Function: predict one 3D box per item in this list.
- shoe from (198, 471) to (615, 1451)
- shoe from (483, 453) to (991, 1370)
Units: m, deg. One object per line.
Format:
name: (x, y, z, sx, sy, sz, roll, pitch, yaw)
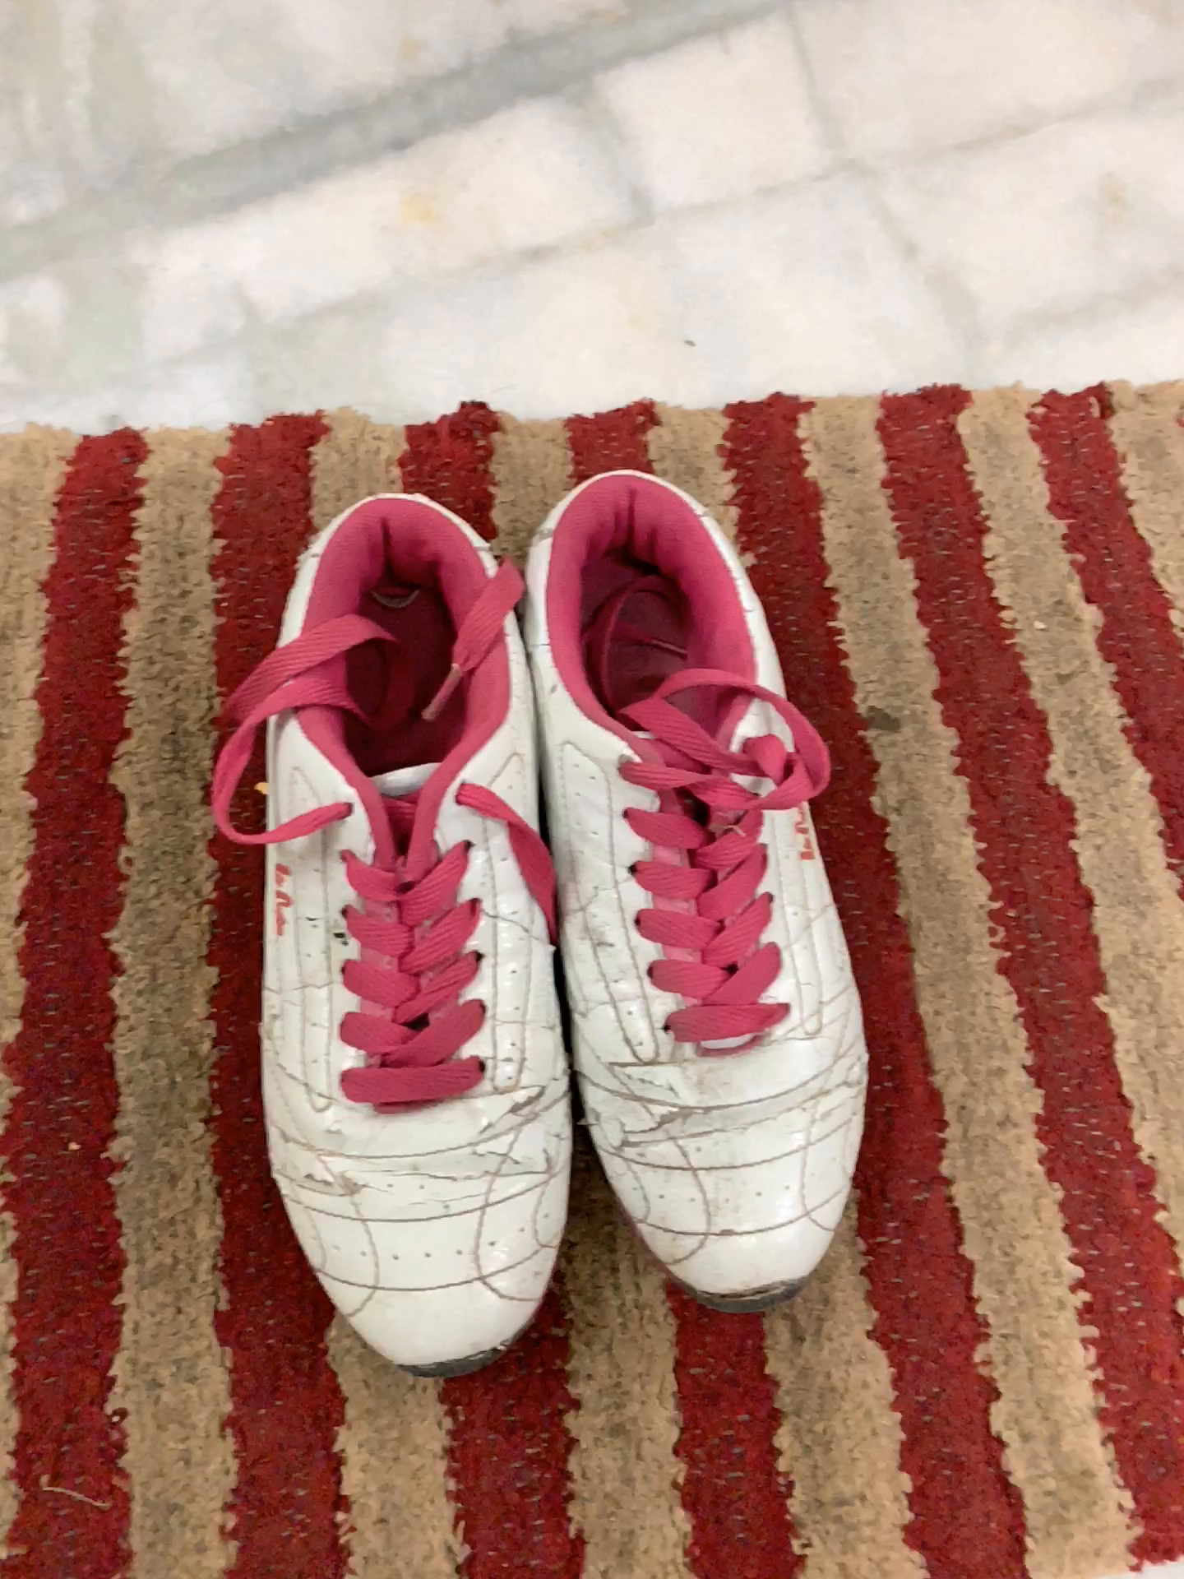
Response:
shoe: (-0.055, 0.042, 0.352, 0.090, 0.100, 0.241, -5, 70, -5)
shoe: (0.029, 0.032, 0.370, 0.100, 0.100, 0.241, -5, 70, -5)
